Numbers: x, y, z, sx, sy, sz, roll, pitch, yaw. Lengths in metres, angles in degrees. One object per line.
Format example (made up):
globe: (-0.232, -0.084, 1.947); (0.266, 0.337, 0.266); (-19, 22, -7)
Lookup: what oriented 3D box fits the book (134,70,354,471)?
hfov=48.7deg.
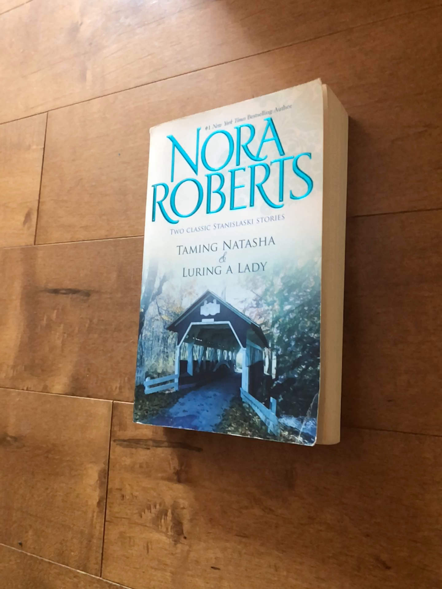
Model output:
book: (0.015, -0.014, 0.313); (0.131, 0.040, 0.220); (-2, 81, 29)
